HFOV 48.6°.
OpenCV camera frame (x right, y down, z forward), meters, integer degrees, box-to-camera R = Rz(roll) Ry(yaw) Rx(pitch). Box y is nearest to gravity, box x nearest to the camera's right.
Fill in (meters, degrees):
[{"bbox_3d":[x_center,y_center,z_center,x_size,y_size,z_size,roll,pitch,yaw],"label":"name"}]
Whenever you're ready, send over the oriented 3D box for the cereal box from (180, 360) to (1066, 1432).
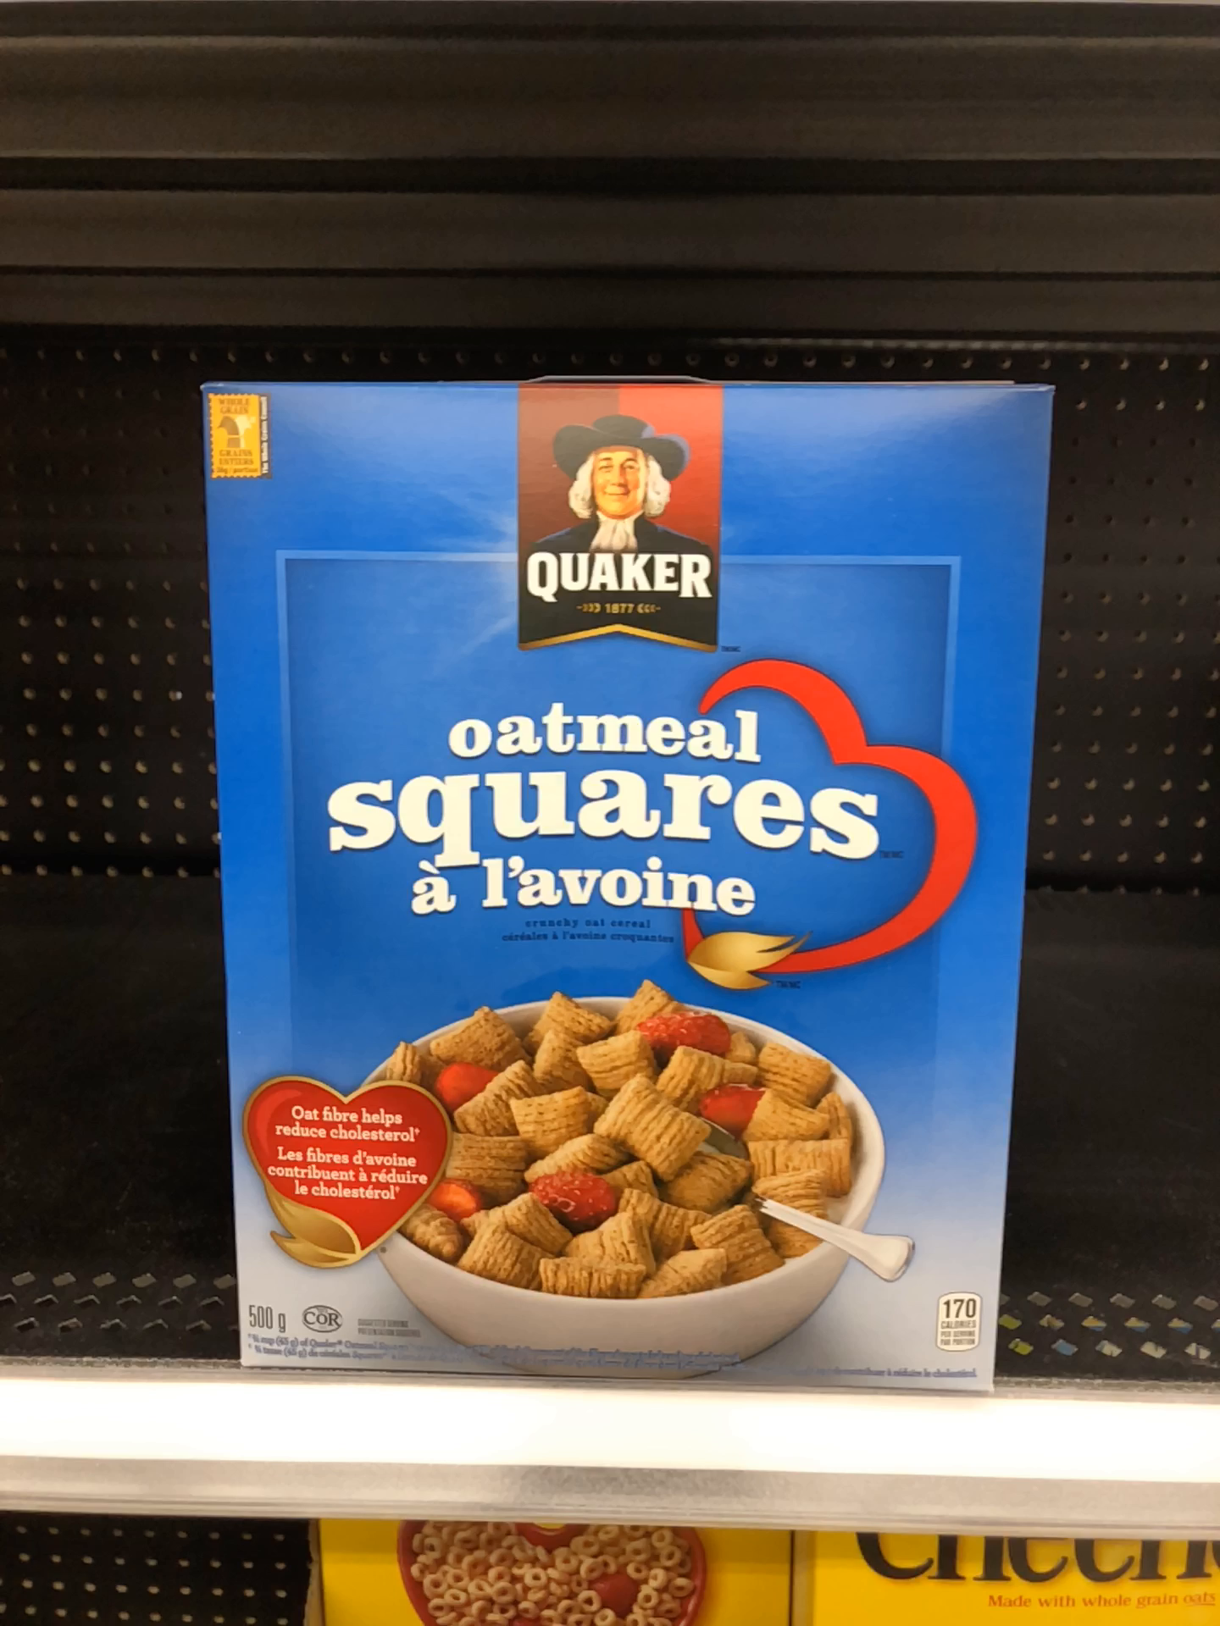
[{"bbox_3d":[0.001,0.025,0.376,0.210,0.279,0.060,1,11,1],"label":"cereal box"}]
